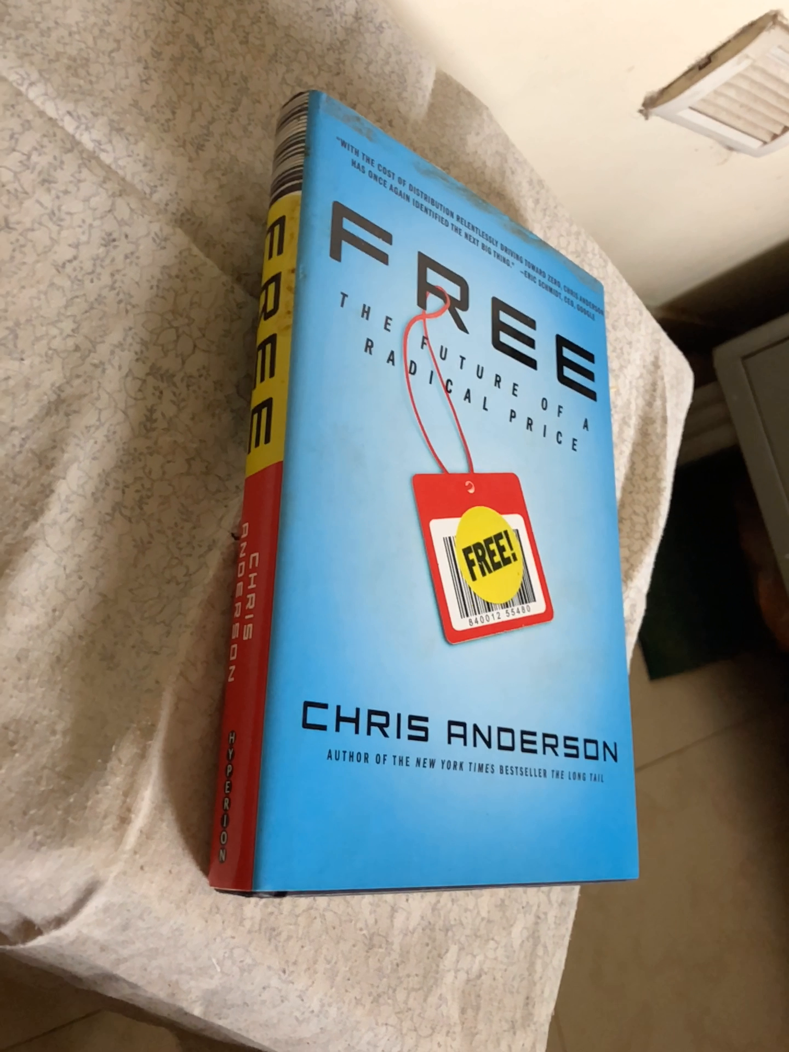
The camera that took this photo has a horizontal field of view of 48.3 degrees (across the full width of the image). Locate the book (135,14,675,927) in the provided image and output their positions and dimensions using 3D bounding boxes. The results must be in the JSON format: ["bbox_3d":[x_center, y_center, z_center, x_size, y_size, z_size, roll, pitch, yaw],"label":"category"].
[{"bbox_3d":[0.015,-0.016,0.316,0.181,0.040,0.280,16,64,-37],"label":"book"}]
